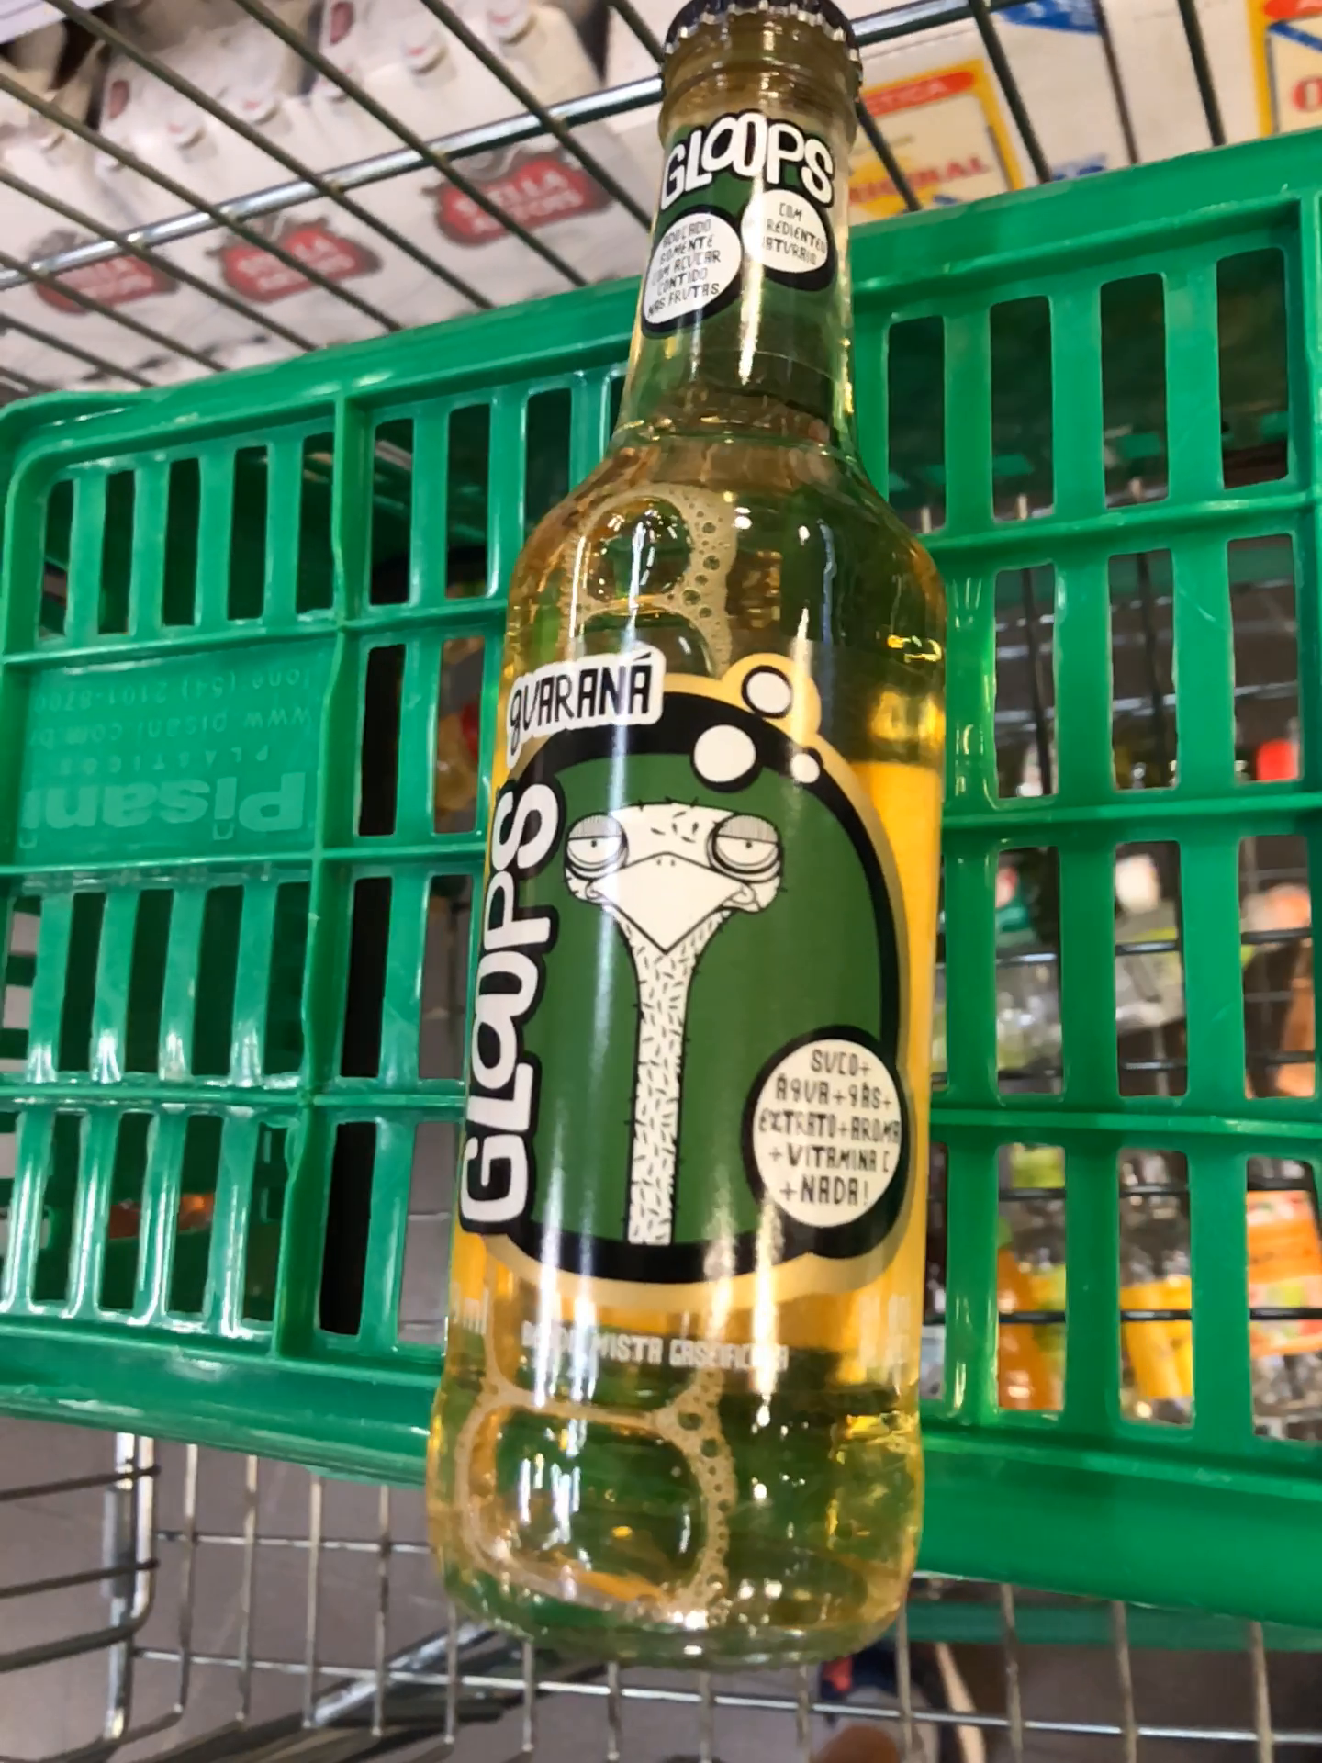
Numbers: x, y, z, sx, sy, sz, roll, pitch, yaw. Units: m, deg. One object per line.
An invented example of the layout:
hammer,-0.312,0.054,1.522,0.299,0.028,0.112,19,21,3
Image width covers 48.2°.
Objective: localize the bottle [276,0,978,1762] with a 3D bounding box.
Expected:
bottle,0.002,-0.023,0.186,0.060,0.050,0.220,-1,80,25
